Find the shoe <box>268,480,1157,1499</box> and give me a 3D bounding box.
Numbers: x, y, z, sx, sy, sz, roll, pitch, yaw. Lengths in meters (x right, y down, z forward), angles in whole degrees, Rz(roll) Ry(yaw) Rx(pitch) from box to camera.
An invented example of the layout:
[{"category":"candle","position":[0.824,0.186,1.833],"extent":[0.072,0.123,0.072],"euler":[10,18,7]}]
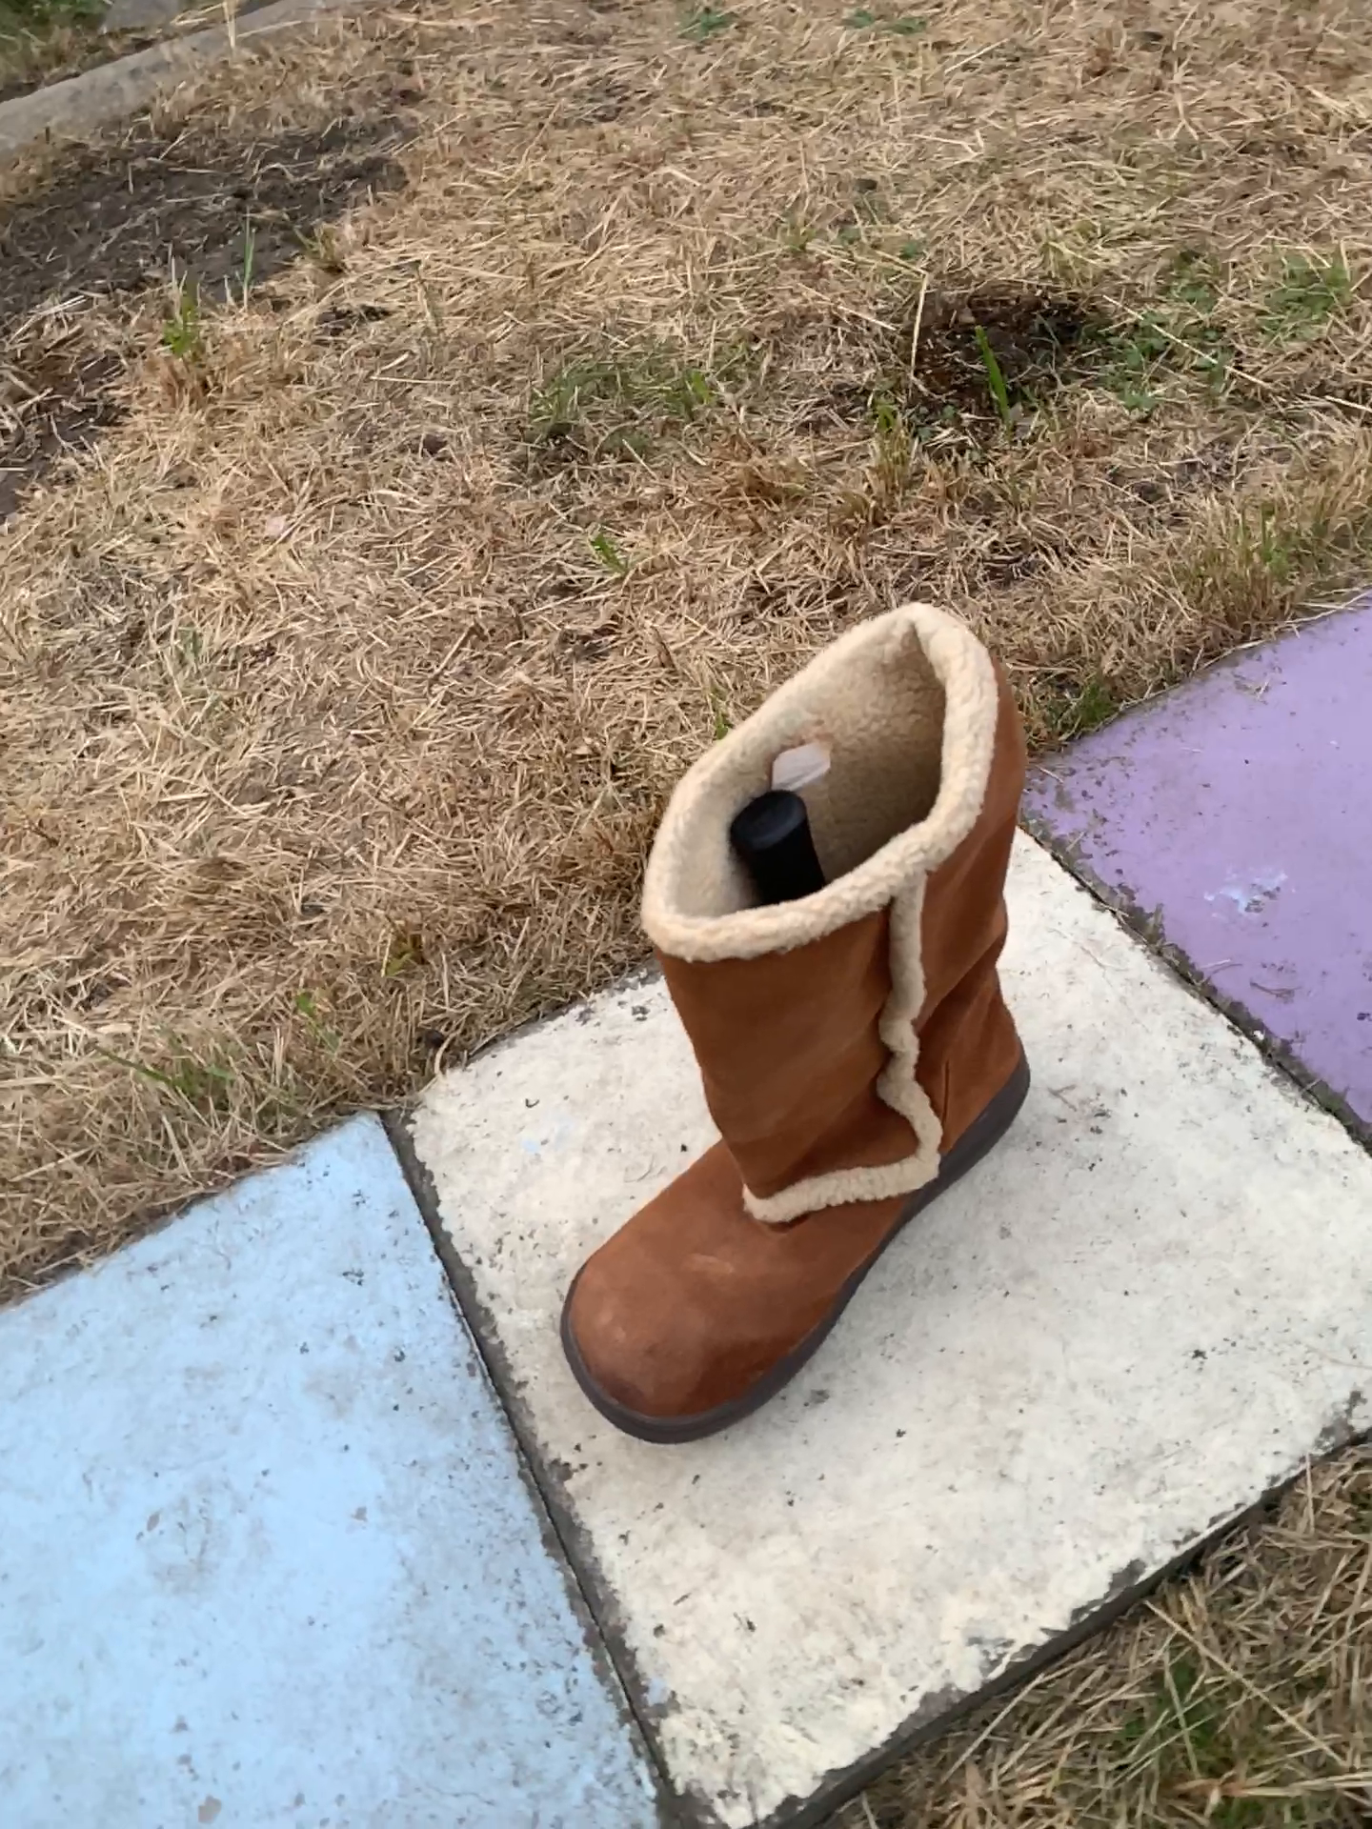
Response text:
[{"category":"shoe","position":[0.036,0.043,0.533],"extent":[0.261,0.297,0.111],"euler":[-35,51,-17]}]
